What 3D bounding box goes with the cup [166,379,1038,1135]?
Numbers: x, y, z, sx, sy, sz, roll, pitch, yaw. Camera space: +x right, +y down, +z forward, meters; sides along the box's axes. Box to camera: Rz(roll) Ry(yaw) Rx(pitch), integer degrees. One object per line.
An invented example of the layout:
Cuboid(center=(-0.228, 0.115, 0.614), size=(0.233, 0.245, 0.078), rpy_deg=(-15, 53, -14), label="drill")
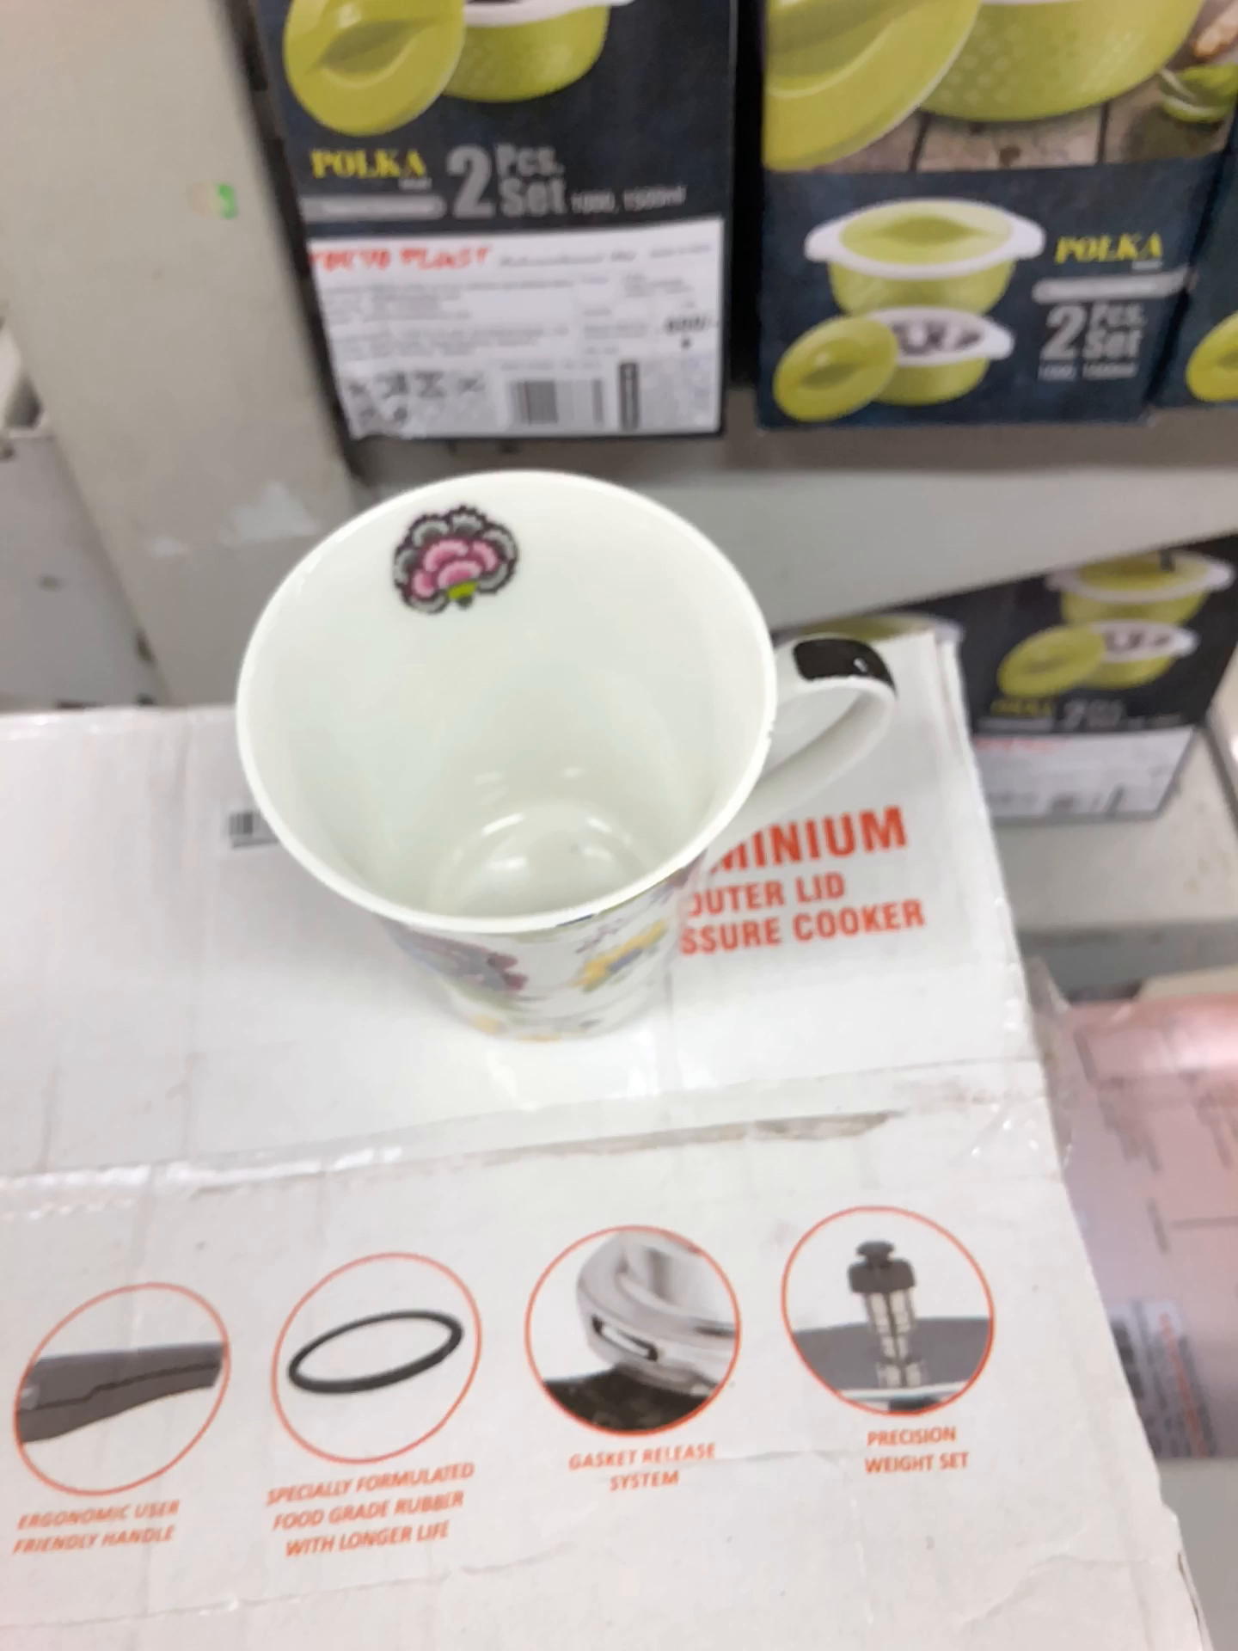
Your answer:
Cuboid(center=(-0.006, -0.009, 0.262), size=(0.120, 0.090, 0.080), rpy_deg=(-15, 64, -8), label="cup")
